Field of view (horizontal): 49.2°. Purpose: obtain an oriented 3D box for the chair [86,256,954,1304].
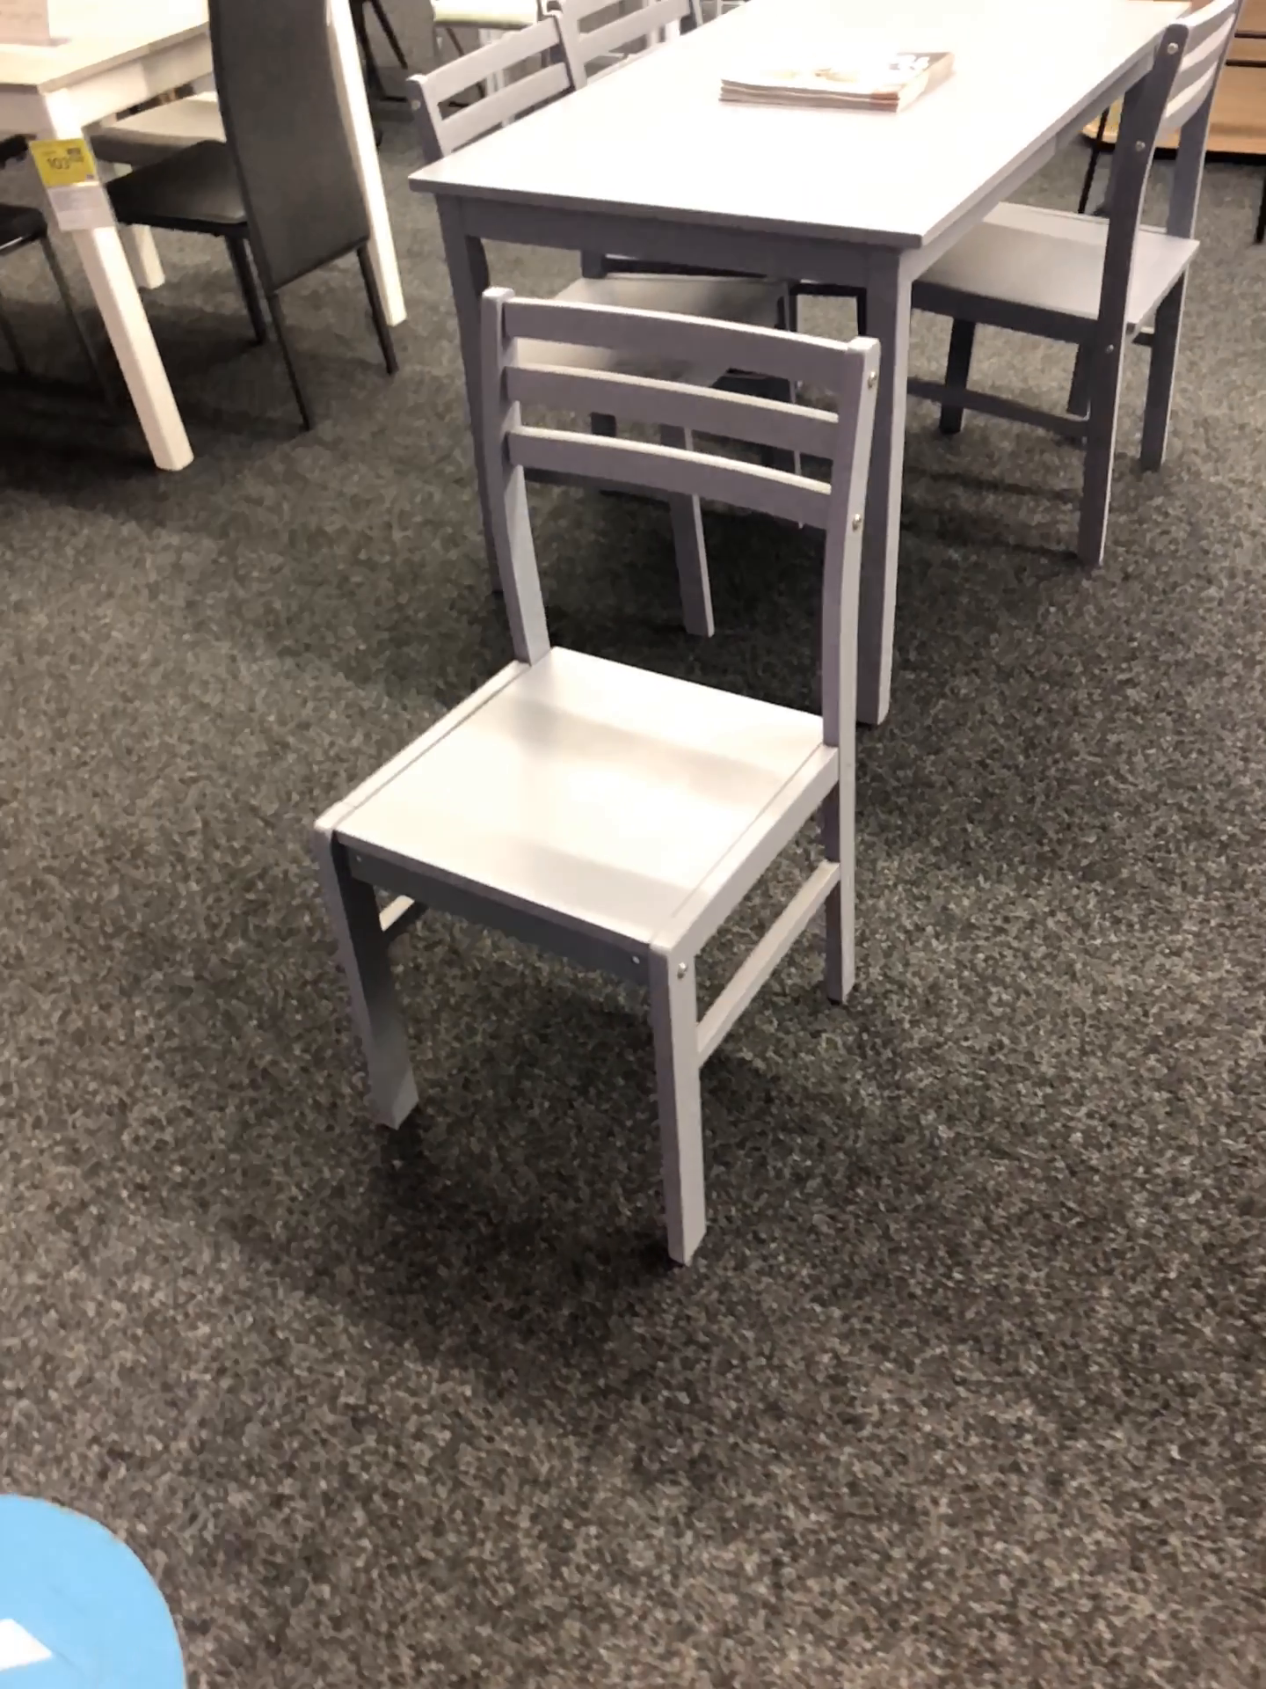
[{"bbox_3d":[-0.038,-0.062,1.327,0.490,0.766,0.493,17,47,24],"label":"chair"}]
